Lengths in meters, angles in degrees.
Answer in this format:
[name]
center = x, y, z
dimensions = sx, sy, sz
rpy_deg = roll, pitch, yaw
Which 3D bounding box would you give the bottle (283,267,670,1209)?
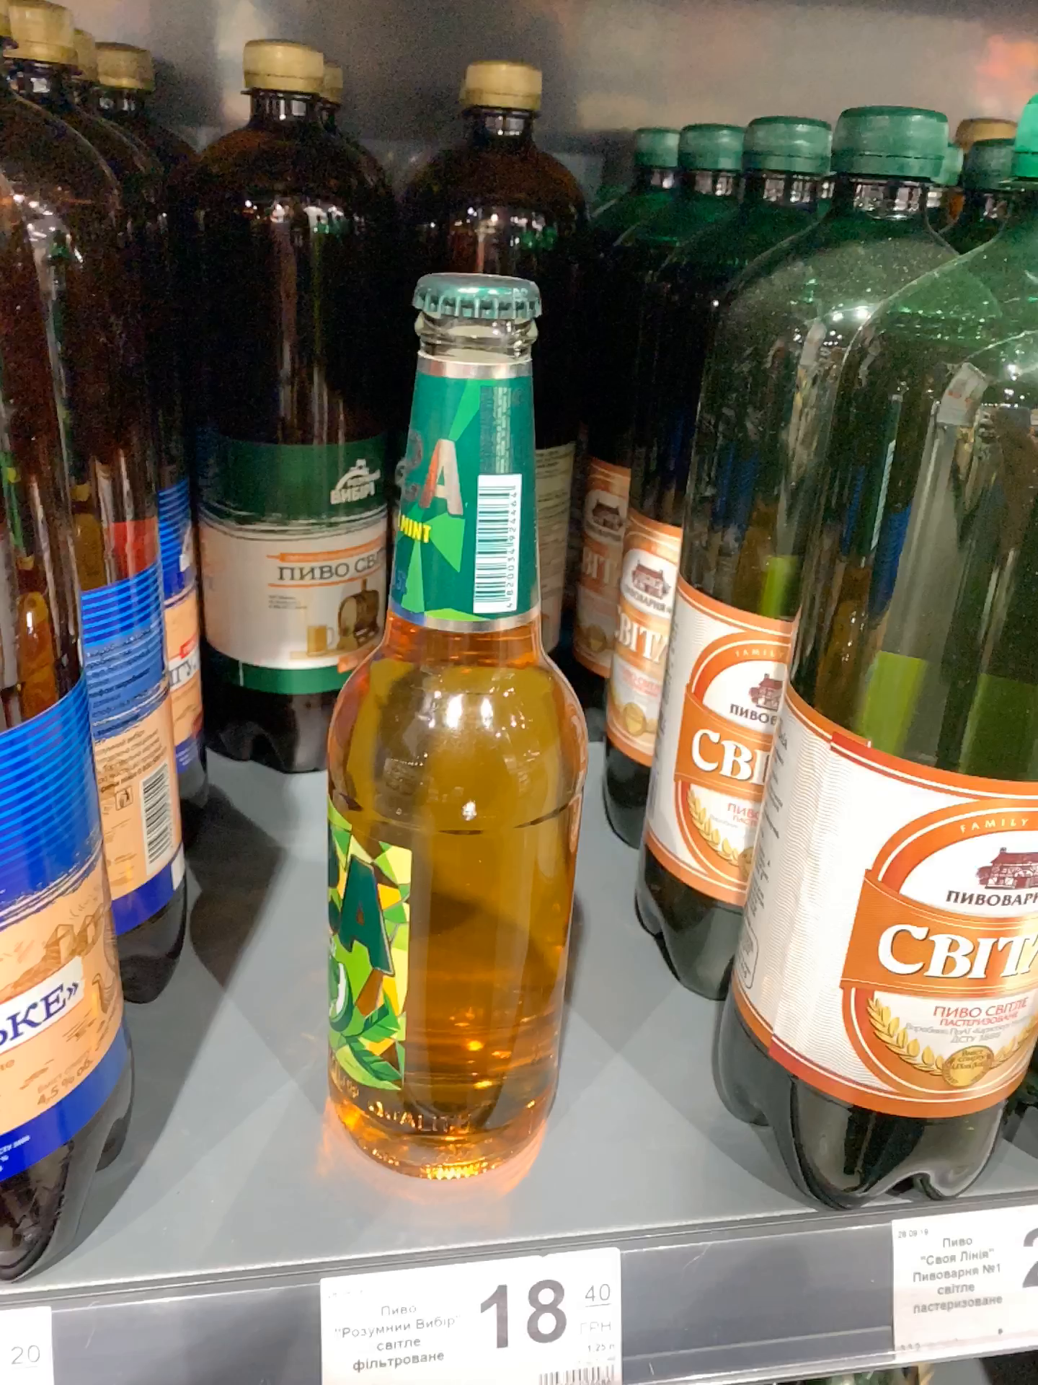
[bottle]
center = -0.020, 0.017, 0.291
dimensions = 0.066, 0.238, 0.072
rpy_deg = 3, 25, -2
